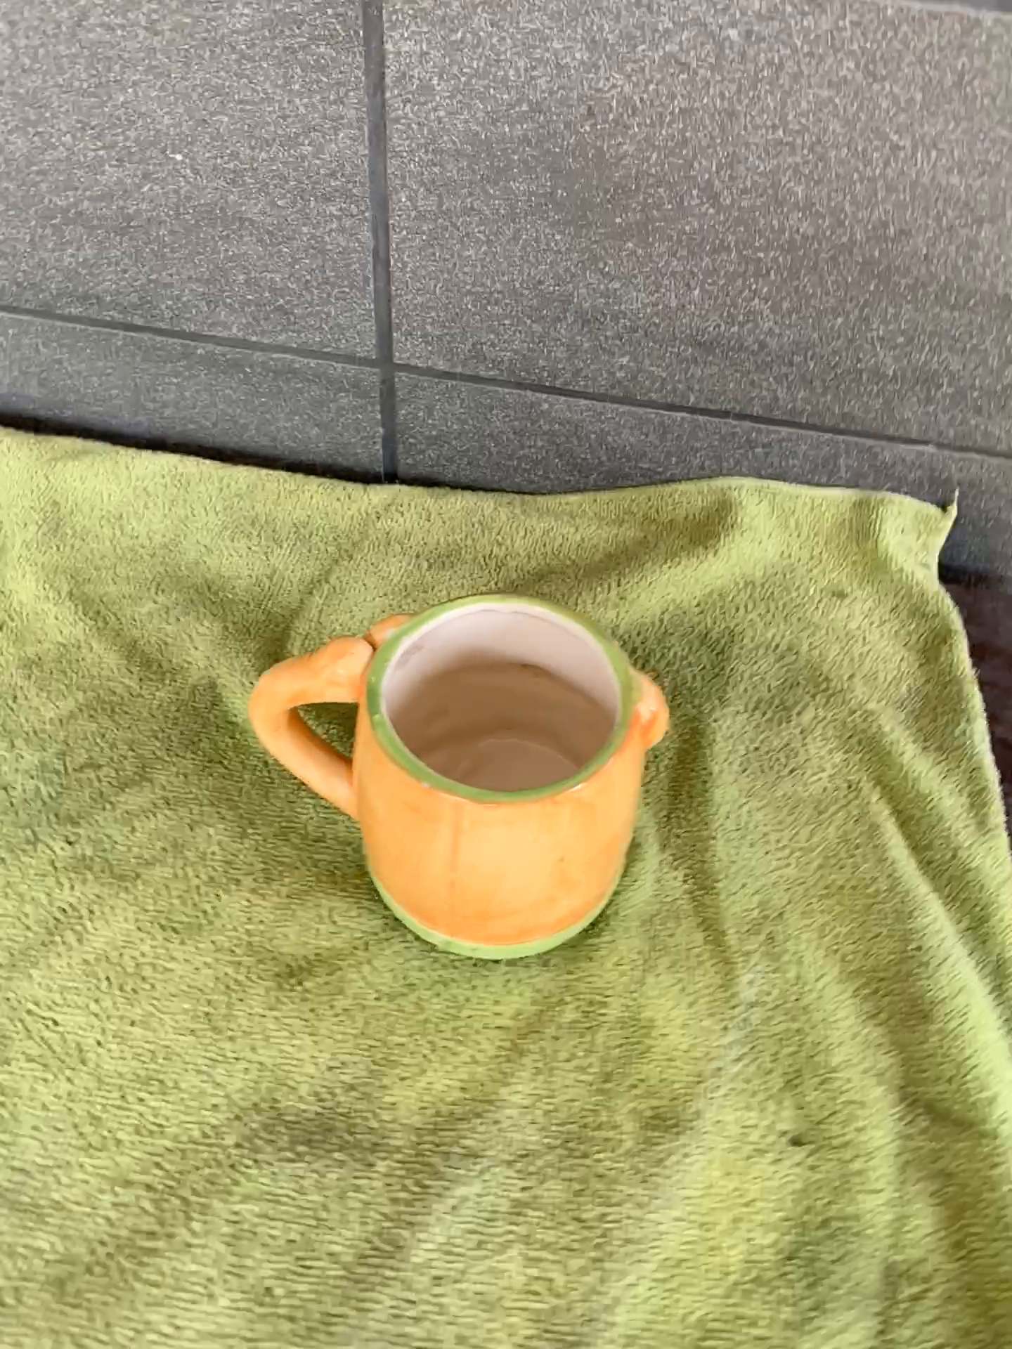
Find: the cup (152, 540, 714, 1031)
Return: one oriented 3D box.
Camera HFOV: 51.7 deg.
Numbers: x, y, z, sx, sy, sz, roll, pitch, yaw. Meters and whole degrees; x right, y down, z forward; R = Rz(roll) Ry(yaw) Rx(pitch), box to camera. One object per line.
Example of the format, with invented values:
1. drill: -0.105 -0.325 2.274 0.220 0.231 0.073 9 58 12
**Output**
1. cup: -0.015 0.034 0.305 0.130 0.100 0.080 9 49 4
